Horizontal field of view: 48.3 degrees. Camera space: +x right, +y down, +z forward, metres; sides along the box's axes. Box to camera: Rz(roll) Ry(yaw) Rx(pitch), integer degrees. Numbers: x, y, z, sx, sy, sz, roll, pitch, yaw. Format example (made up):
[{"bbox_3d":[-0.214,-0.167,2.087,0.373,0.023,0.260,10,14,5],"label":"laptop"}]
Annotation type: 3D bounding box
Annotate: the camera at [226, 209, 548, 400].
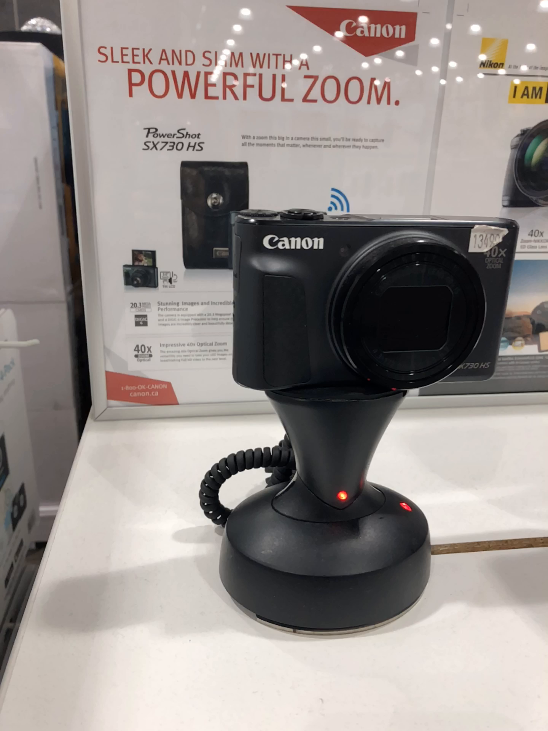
[{"bbox_3d":[0.039,-0.025,0.229,0.110,0.060,0.040,-3,20,-11],"label":"camera"}]
